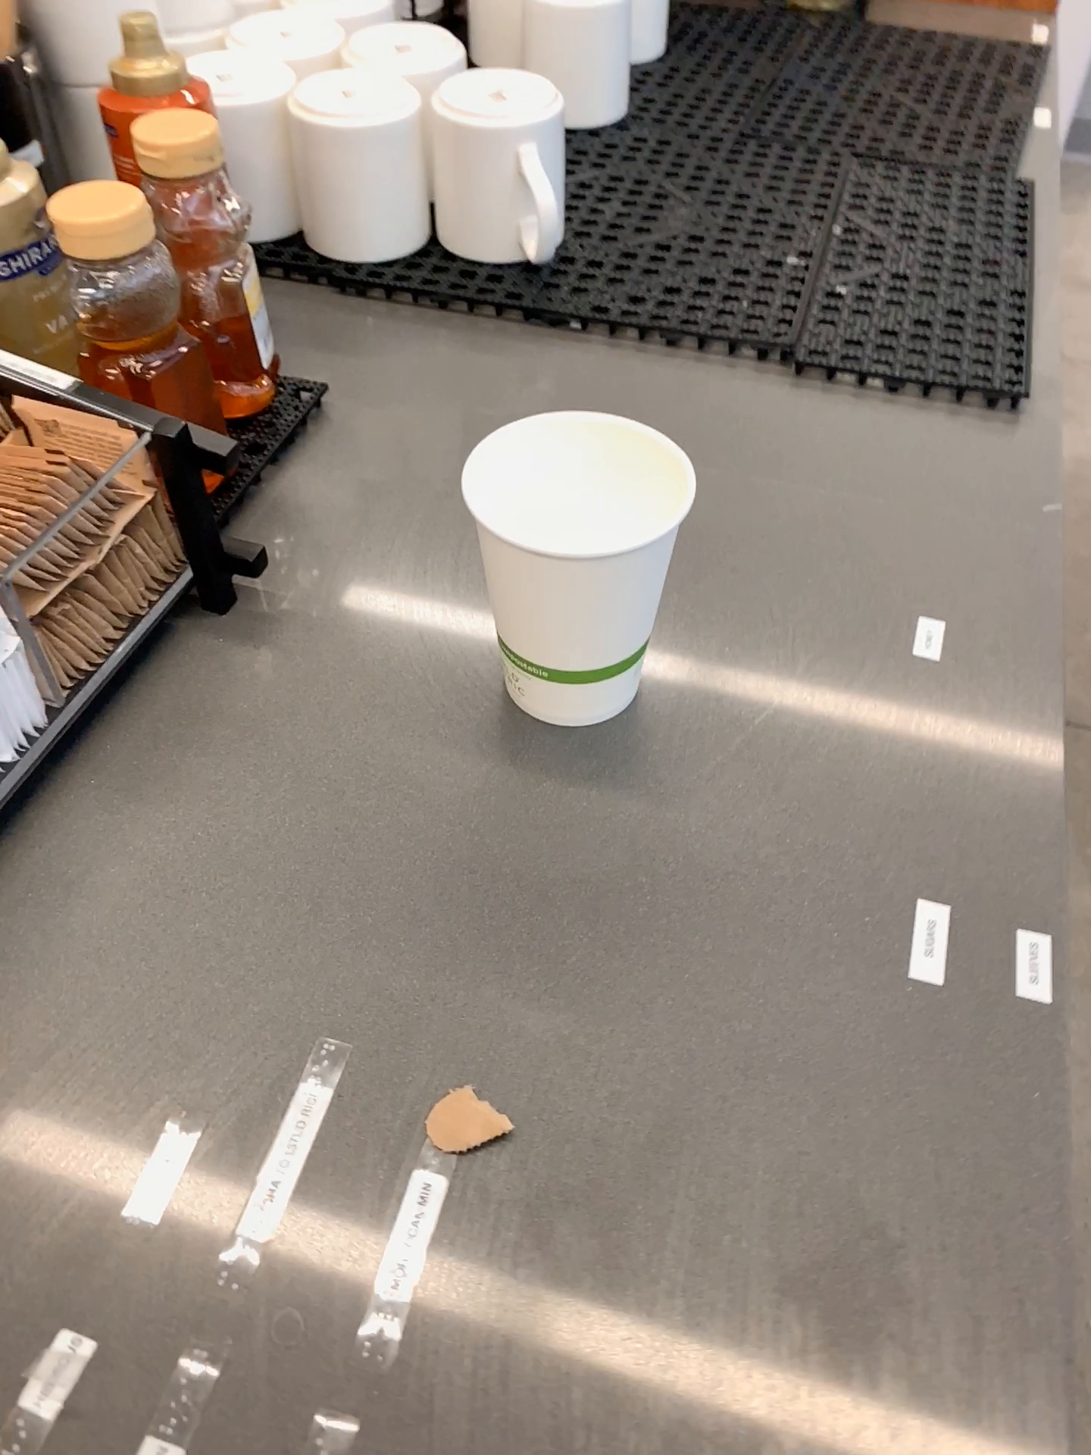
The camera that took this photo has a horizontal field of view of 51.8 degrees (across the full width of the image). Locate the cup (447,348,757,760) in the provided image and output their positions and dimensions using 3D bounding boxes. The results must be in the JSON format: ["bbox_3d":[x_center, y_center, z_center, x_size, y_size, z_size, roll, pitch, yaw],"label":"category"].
[{"bbox_3d":[0.019,-0.068,0.450,0.080,0.119,0.080,0,48,0],"label":"cup"}]
